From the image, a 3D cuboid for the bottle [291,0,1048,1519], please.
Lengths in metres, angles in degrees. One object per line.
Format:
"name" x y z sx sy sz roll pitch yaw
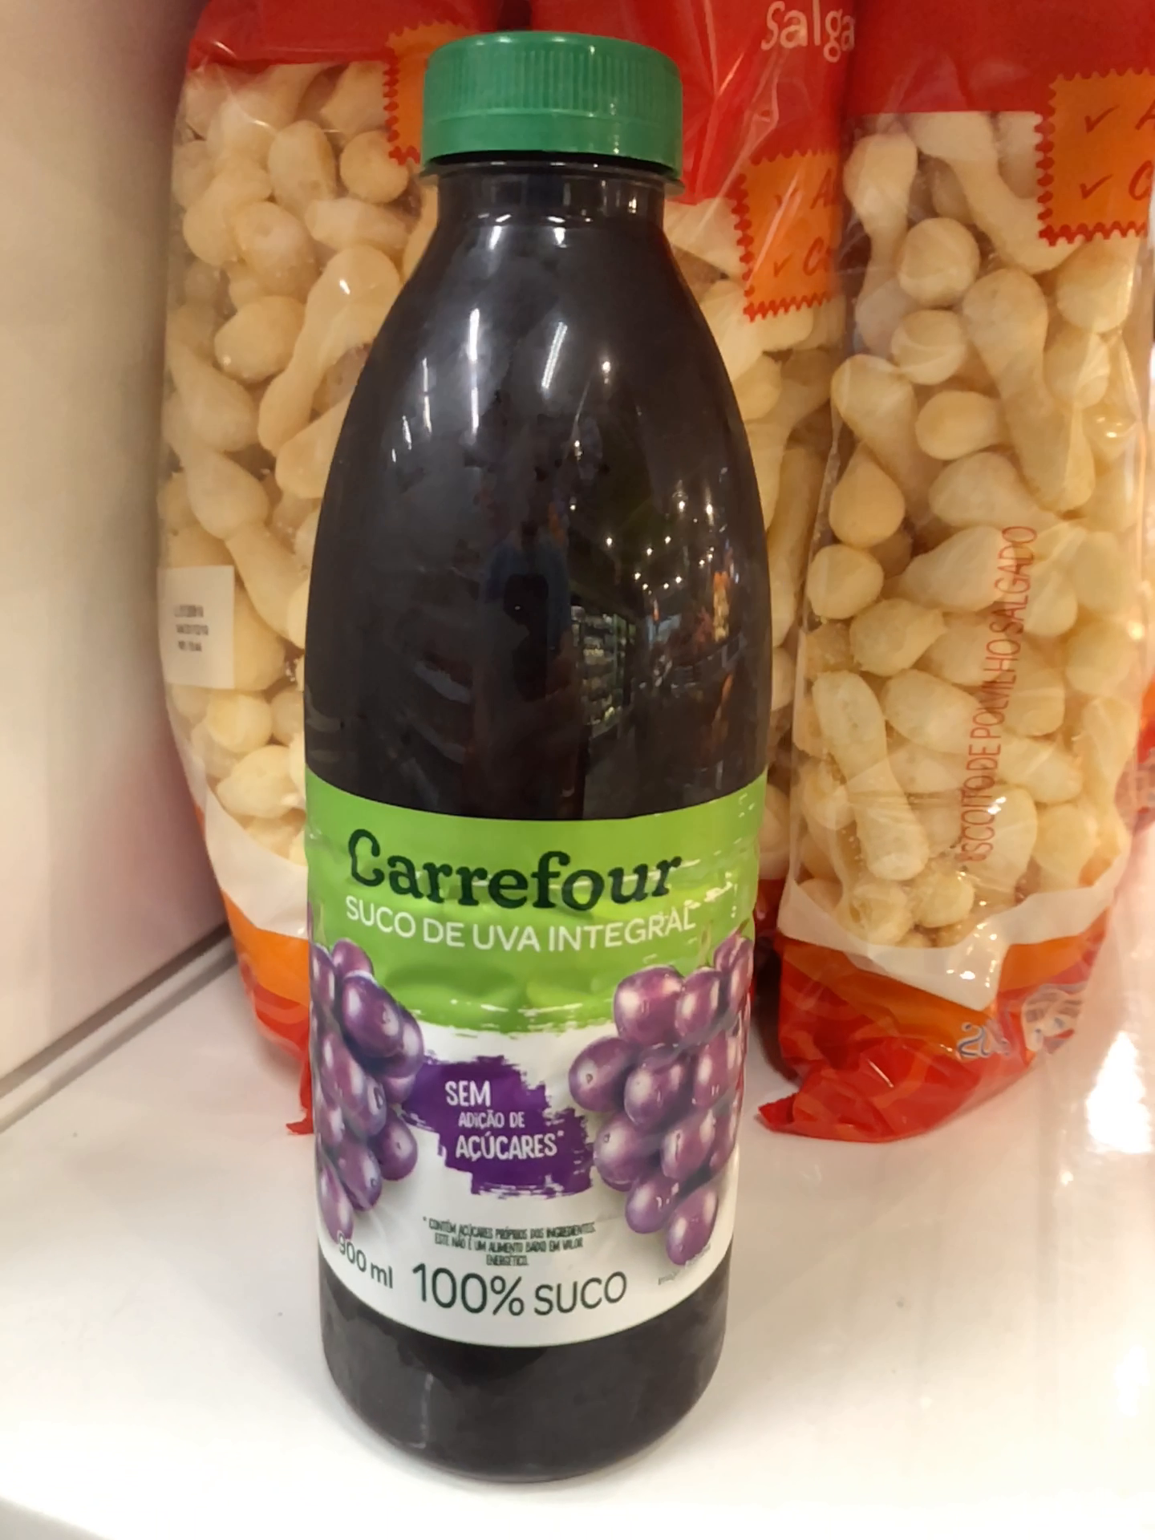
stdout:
"bottle" 0.005 0.003 0.224 0.090 0.229 0.080 4 17 0
